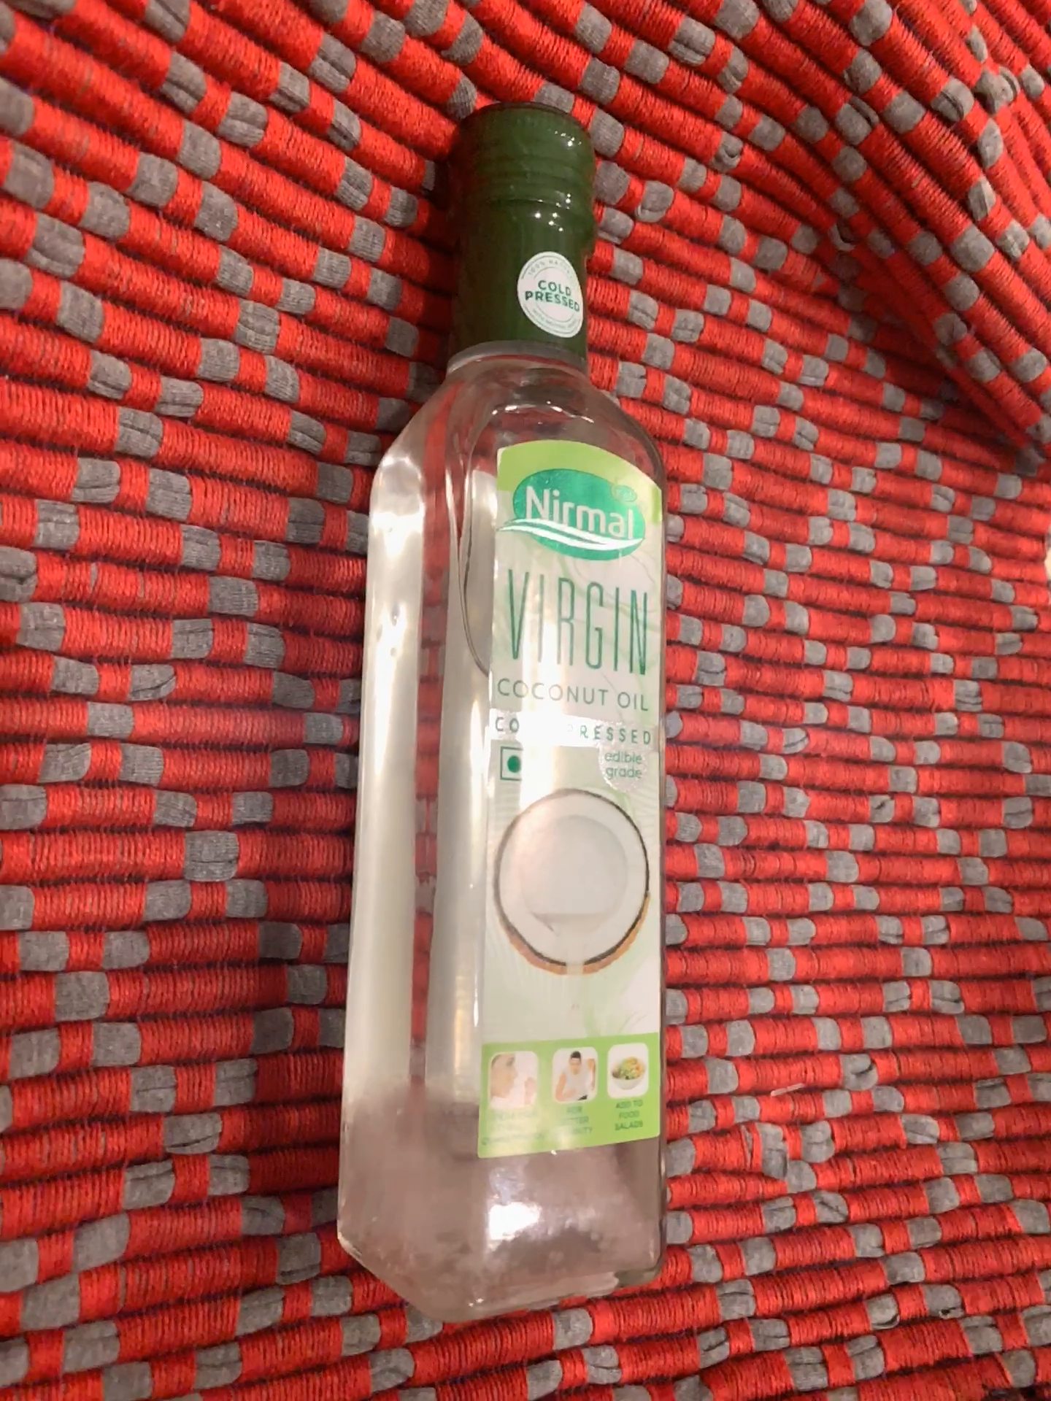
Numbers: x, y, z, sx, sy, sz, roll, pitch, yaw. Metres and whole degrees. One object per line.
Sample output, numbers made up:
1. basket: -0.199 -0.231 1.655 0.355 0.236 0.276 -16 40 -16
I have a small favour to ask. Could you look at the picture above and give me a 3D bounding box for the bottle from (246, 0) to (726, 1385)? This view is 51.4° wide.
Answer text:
1. bottle: -0.009 -0.010 0.204 0.060 0.060 0.220 6 78 -30
